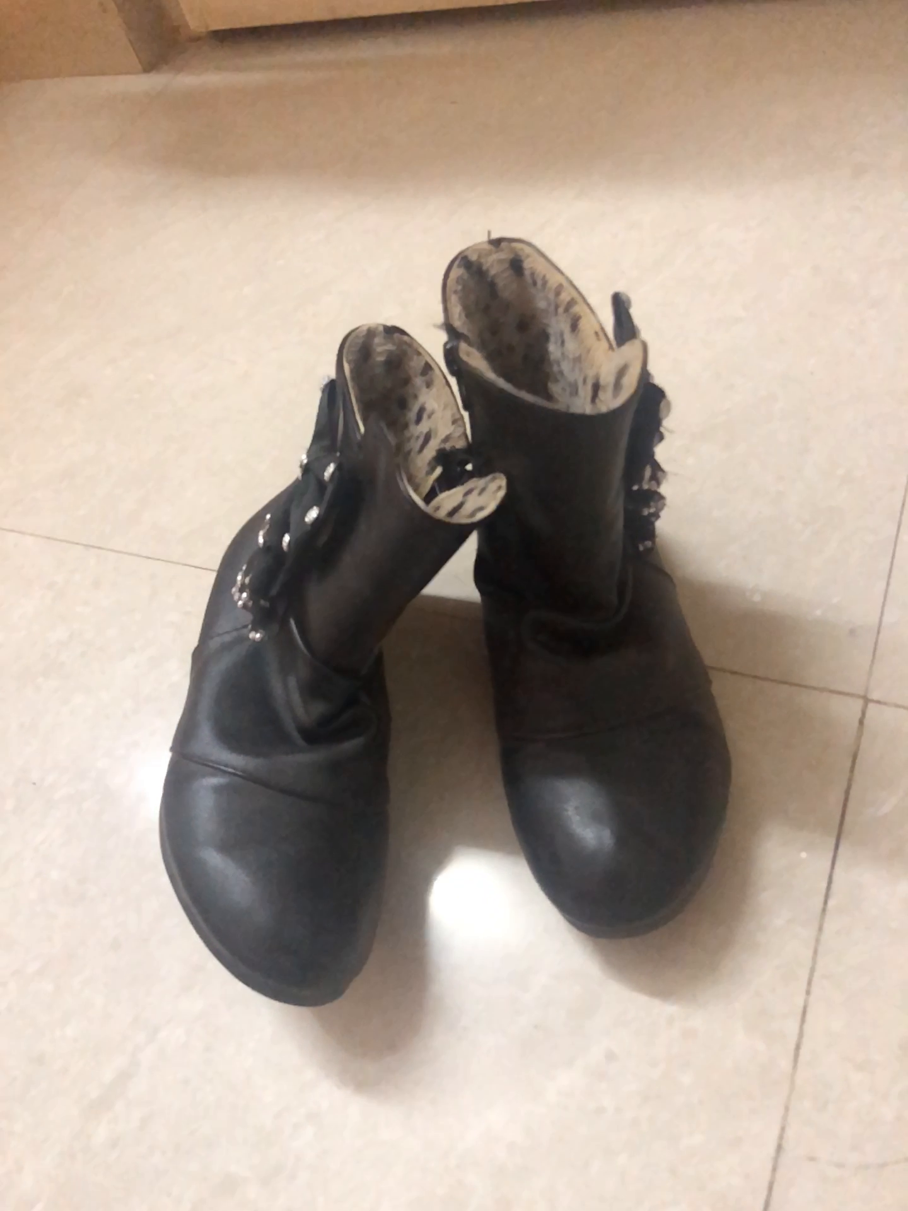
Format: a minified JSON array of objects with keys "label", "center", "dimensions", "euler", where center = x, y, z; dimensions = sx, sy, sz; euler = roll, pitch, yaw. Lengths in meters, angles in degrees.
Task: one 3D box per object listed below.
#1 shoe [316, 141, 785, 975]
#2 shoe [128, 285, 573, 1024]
[{"label":"shoe","center":[0.026,-0.019,0.328],"dimensions":[0.090,0.139,0.221],"euler":[-15,52,7]},{"label":"shoe","center":[-0.046,0.019,0.343],"dimensions":[0.090,0.139,0.201],"euler":[9,50,-19]}]
